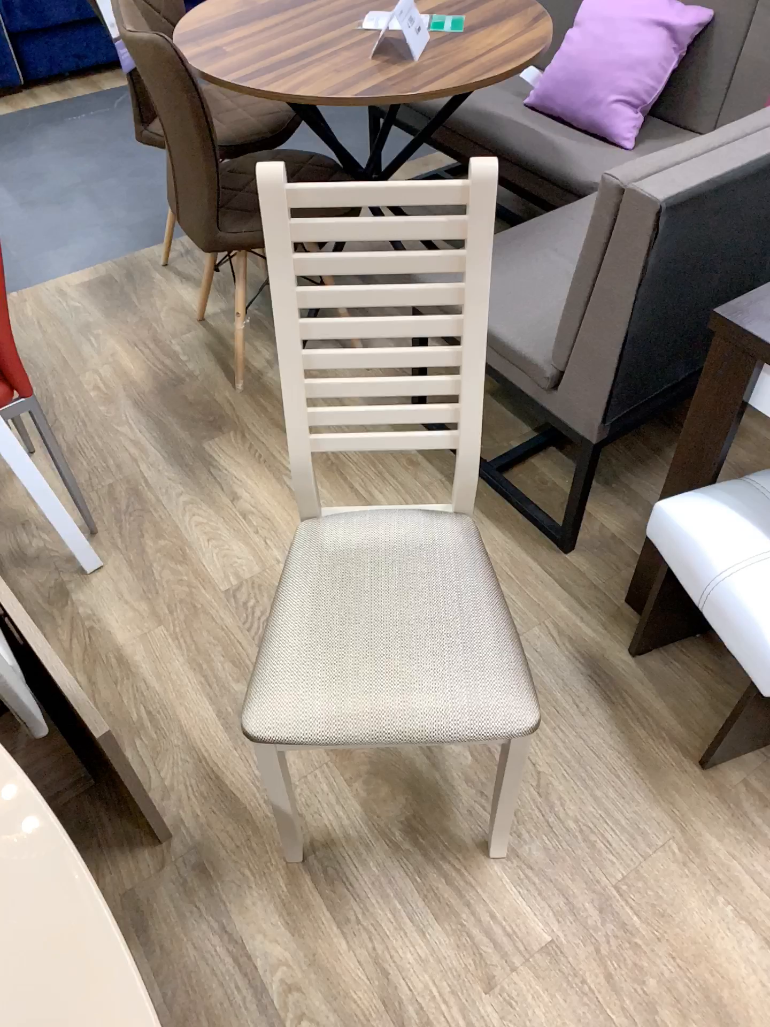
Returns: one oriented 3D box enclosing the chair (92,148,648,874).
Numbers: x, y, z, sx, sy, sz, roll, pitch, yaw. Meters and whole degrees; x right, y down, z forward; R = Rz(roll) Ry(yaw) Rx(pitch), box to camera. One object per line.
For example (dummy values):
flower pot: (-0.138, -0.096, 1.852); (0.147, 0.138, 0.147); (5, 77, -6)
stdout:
chair: (-0.007, 0.079, 1.174); (0.440, 0.986, 0.552); (-1, 48, 0)
